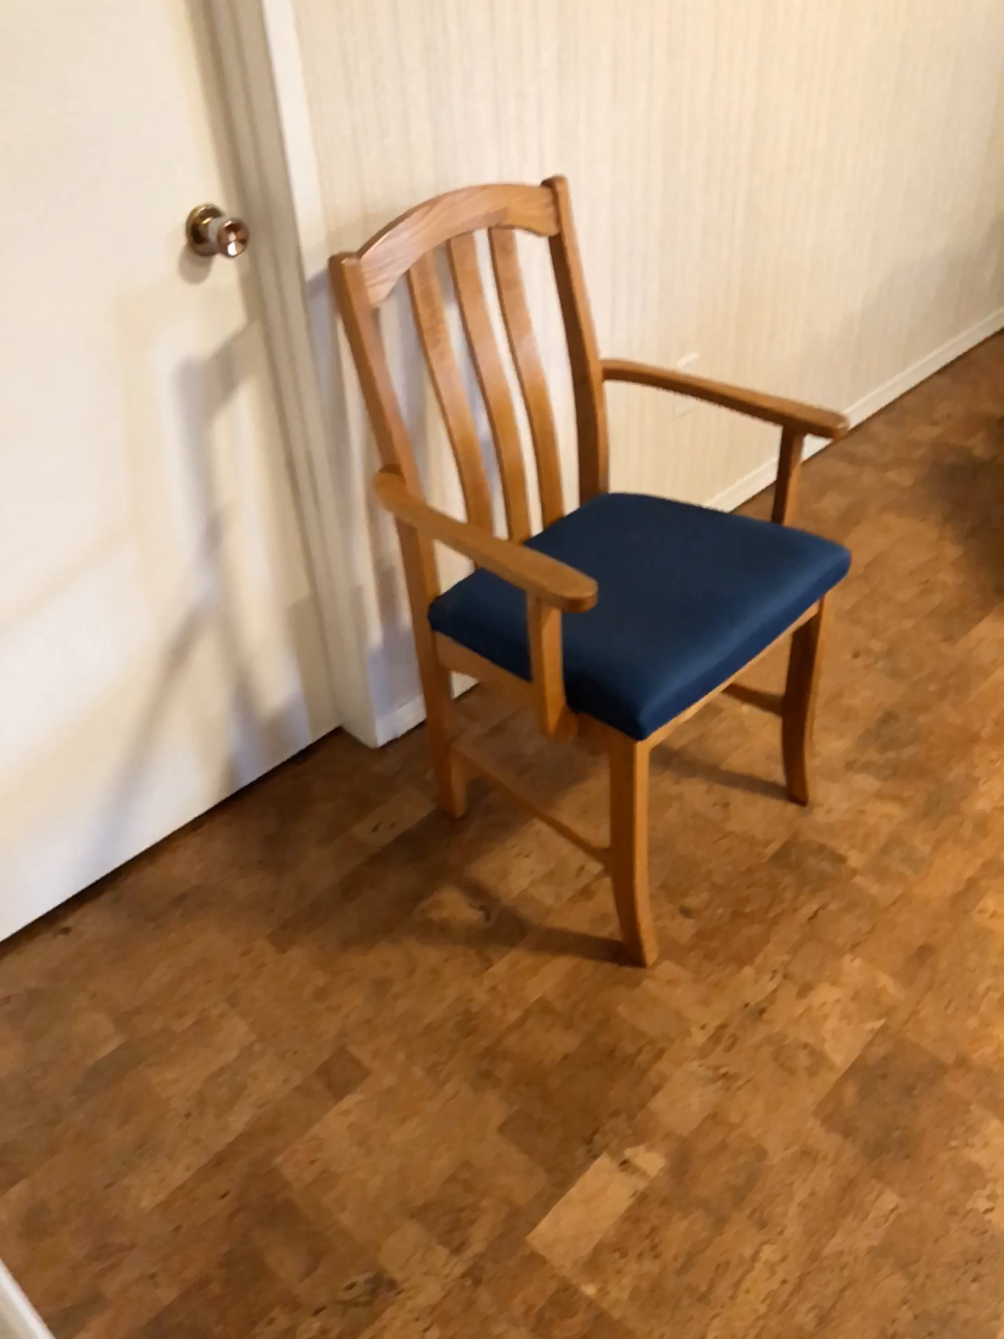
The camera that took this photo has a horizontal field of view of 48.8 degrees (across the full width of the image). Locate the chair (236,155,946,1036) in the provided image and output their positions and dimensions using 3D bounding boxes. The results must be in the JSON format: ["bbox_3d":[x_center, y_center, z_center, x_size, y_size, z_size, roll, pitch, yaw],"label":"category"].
[{"bbox_3d":[0.122,-0.118,1.539,0.591,0.937,0.551,26,46,33],"label":"chair"}]
